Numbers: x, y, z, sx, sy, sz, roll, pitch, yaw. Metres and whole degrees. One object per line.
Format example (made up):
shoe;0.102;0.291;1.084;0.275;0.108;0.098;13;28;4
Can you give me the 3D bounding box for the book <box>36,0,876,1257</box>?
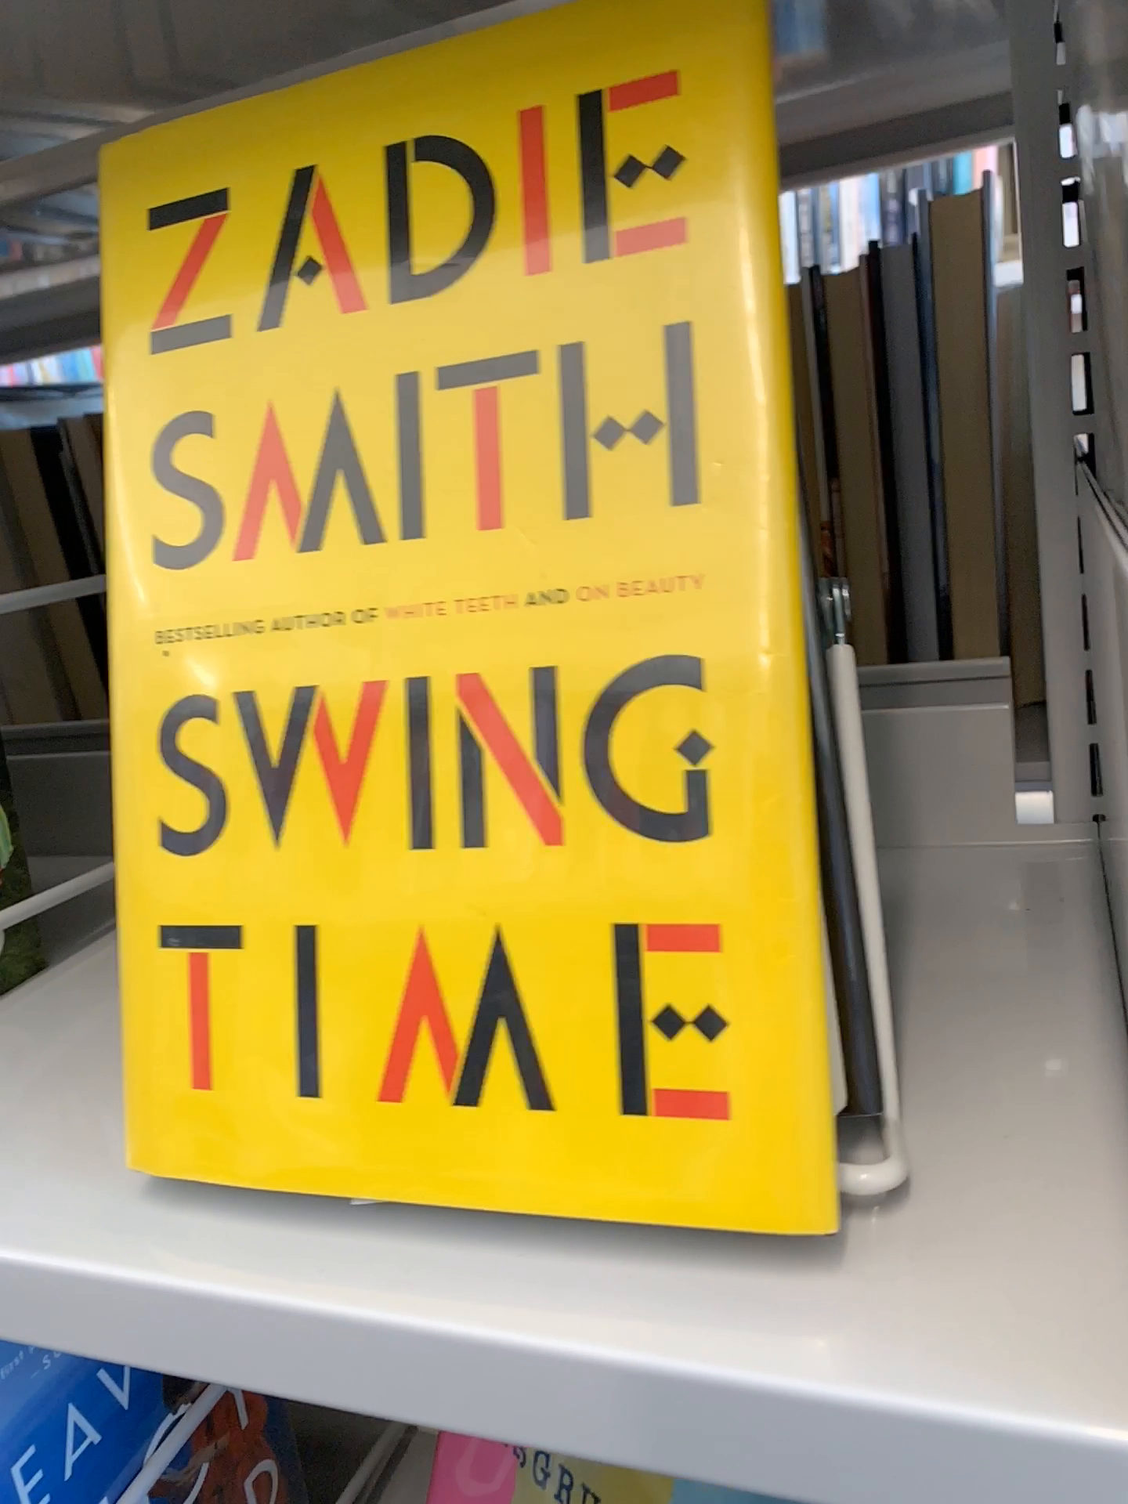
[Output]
book;-0.027;-0.027;0.258;0.168;0.233;0.060;-3;-4;20
